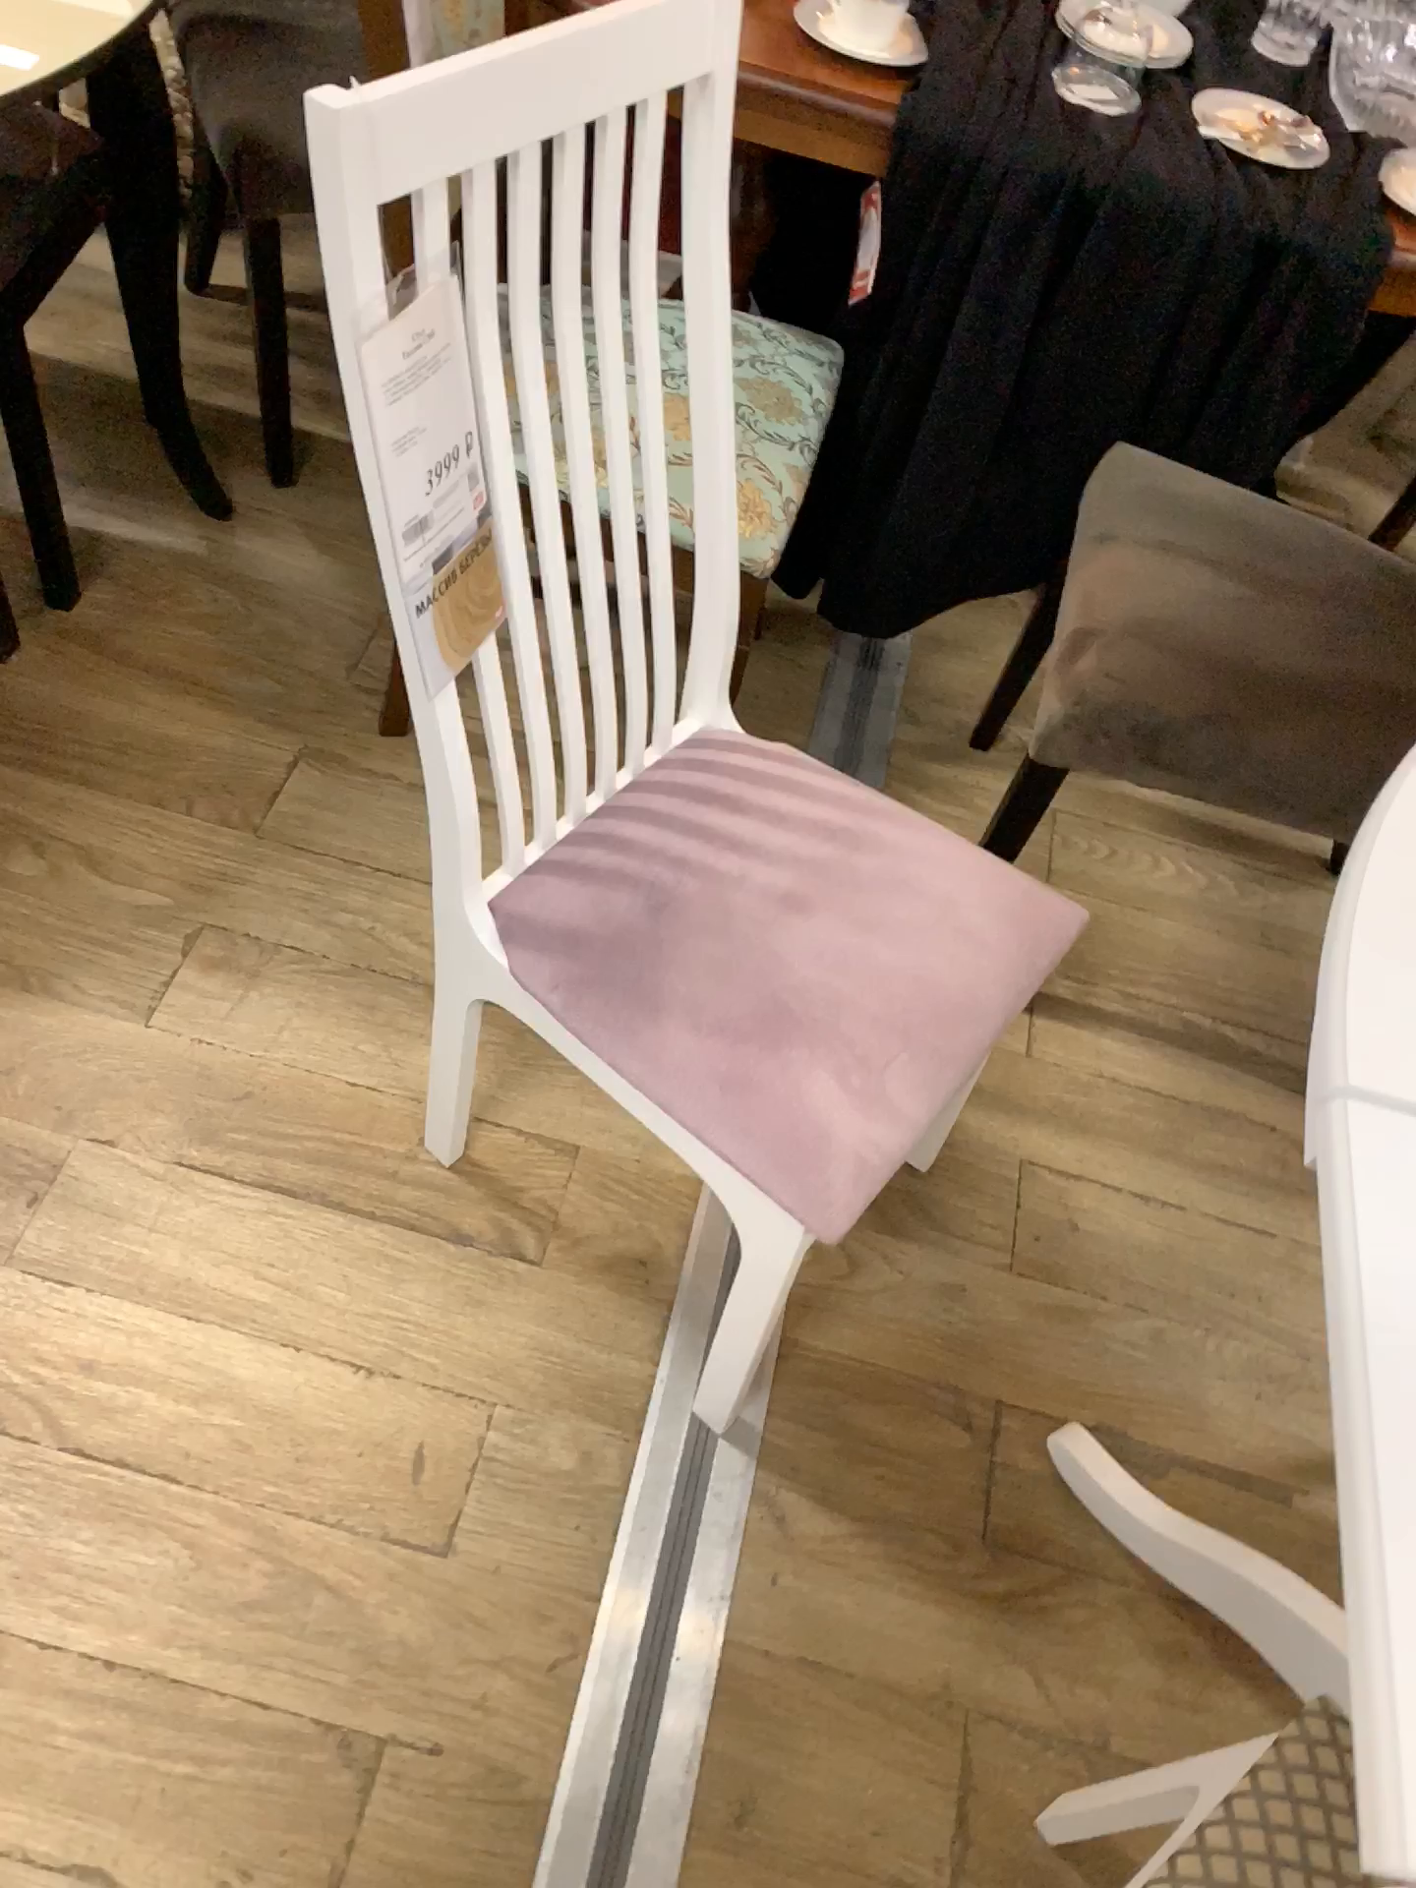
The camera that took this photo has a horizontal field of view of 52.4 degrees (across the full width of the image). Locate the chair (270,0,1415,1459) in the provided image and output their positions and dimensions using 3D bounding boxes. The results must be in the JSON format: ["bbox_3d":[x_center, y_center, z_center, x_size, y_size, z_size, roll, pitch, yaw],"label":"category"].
[{"bbox_3d":[0.034,-0.092,1.156,0.520,1.003,0.442,35,53,15],"label":"chair"}]
